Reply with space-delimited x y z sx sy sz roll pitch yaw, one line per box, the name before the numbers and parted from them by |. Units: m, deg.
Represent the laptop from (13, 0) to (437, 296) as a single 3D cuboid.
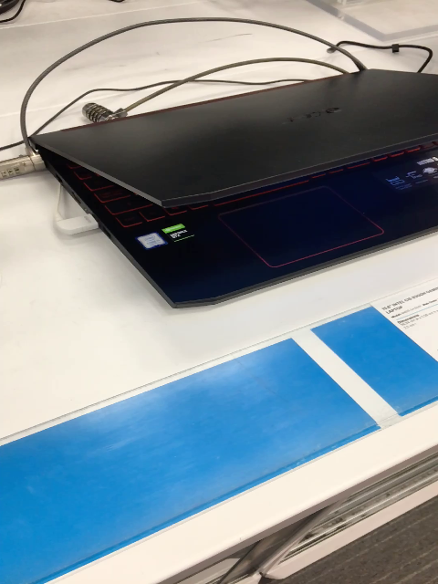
laptop | 0.080 -0.154 0.518 0.398 0.101 0.239 -20 54 -19
